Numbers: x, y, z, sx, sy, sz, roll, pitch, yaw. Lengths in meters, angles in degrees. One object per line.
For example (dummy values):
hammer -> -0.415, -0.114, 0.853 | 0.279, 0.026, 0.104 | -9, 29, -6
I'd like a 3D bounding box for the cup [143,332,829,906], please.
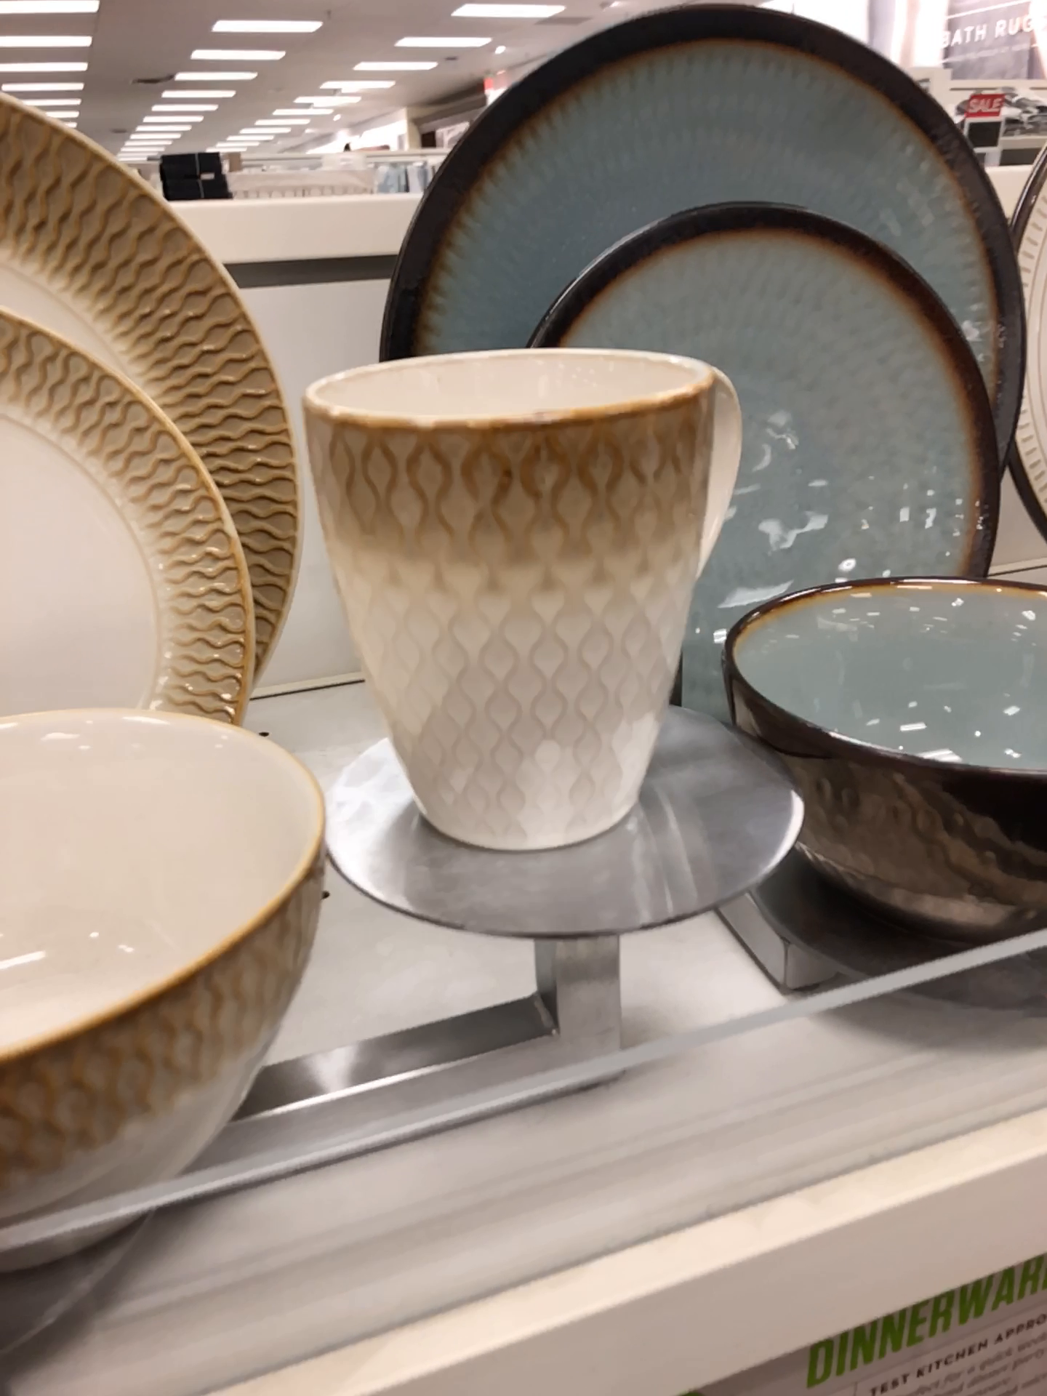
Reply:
cup -> 0.001, -0.033, 0.278 | 0.100, 0.089, 0.129 | 12, 27, 31
